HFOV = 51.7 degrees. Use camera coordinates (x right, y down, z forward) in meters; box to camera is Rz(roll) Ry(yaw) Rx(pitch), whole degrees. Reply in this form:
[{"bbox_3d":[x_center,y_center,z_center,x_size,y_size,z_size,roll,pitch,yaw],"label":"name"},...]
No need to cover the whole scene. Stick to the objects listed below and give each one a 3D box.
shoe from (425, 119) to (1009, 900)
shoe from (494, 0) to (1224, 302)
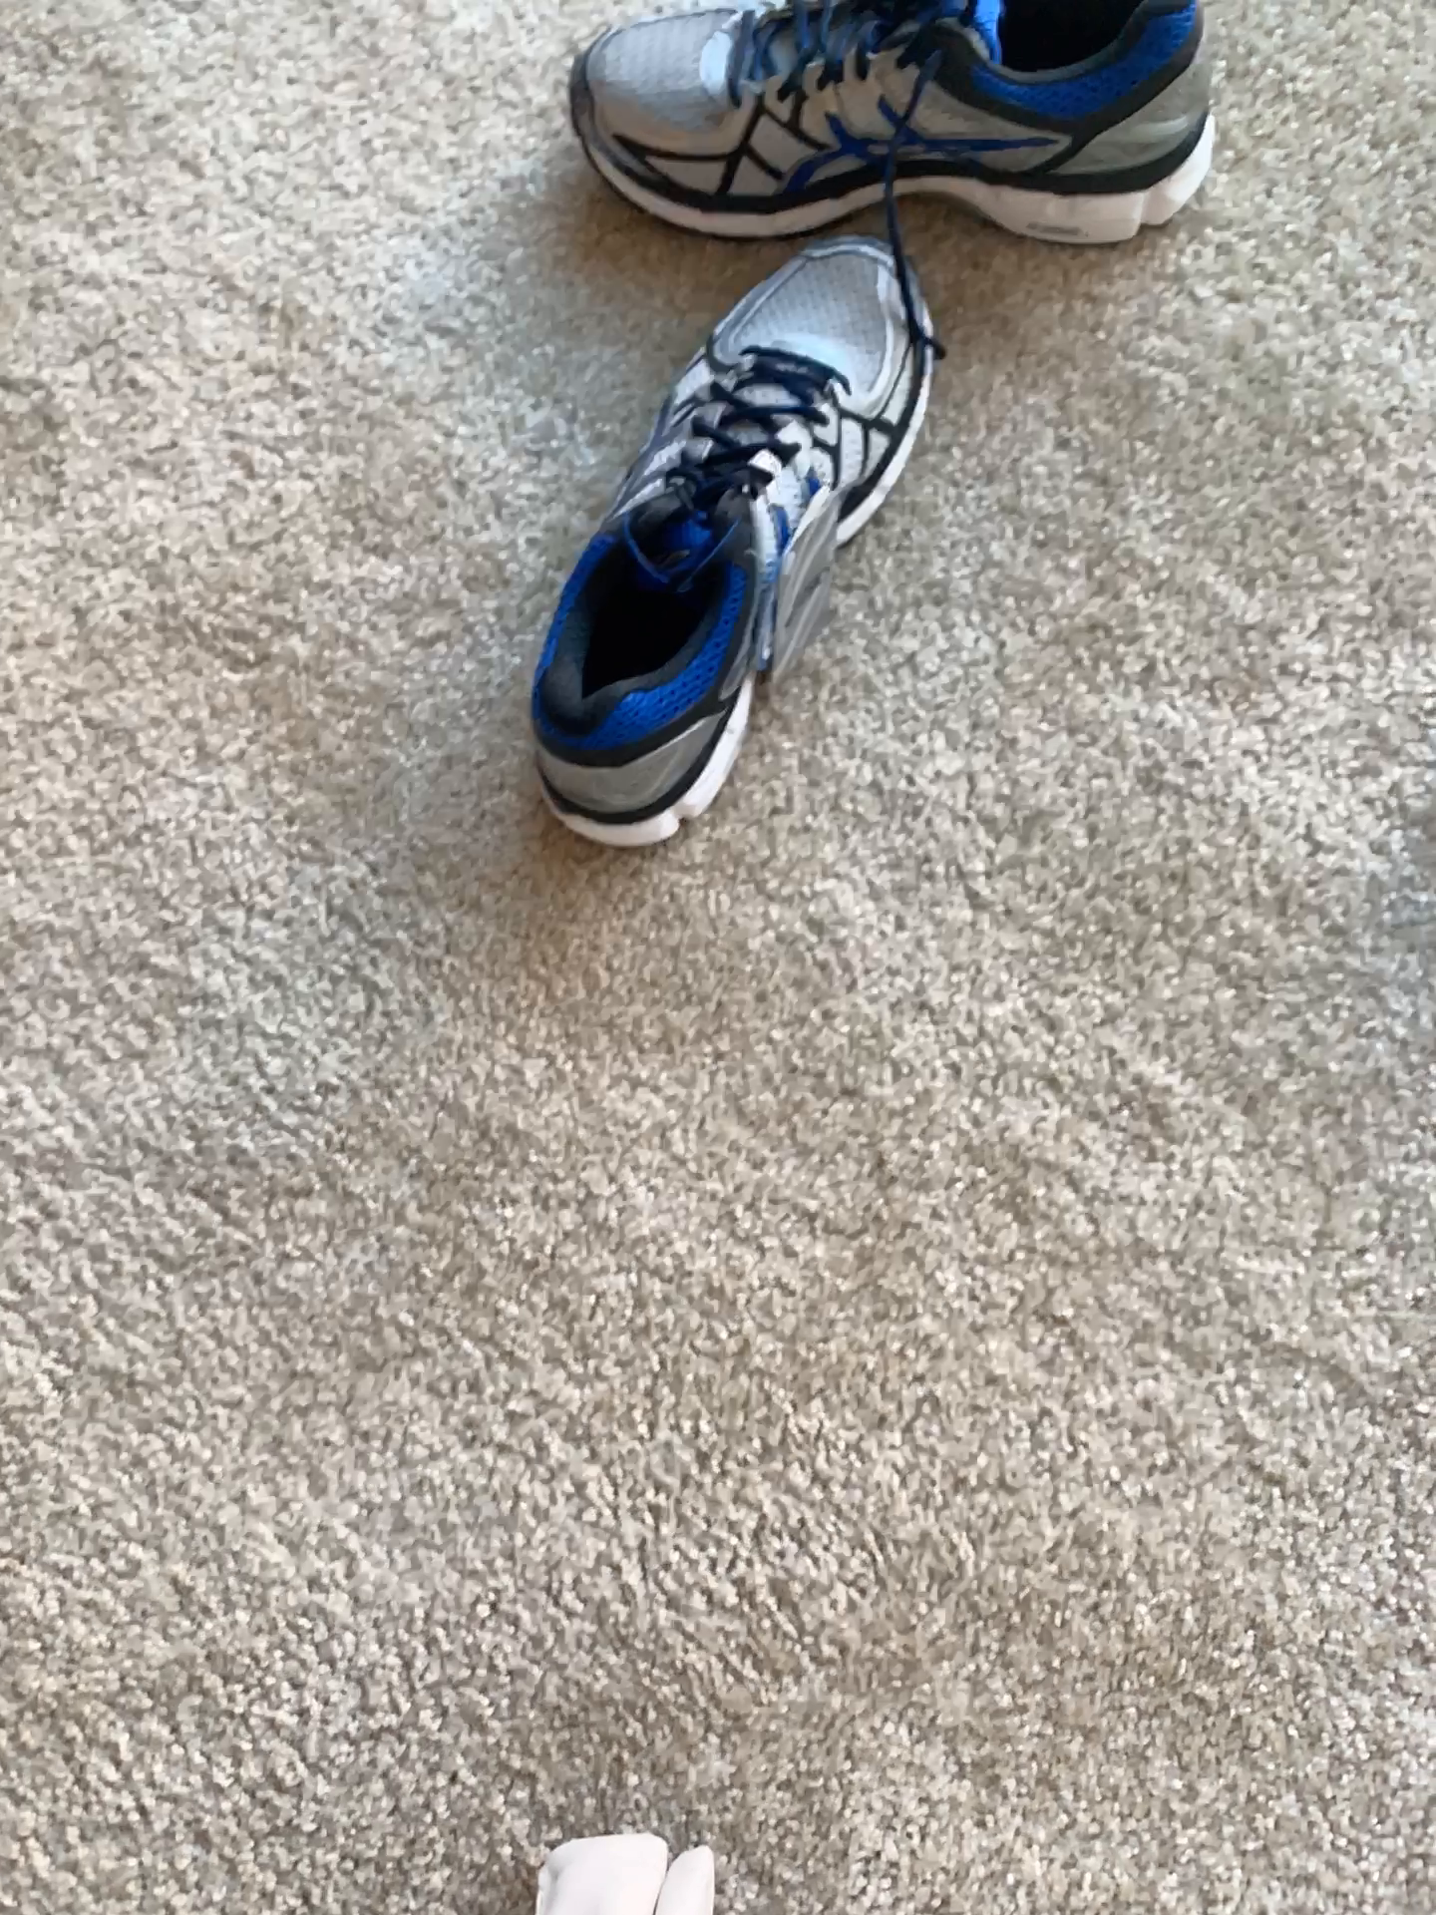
[{"bbox_3d":[0.007,-0.185,0.633,0.100,0.110,0.290,28,82,12],"label":"shoe"},{"bbox_3d":[0.065,-0.393,0.701,0.310,0.110,0.100,5,78,7],"label":"shoe"}]
